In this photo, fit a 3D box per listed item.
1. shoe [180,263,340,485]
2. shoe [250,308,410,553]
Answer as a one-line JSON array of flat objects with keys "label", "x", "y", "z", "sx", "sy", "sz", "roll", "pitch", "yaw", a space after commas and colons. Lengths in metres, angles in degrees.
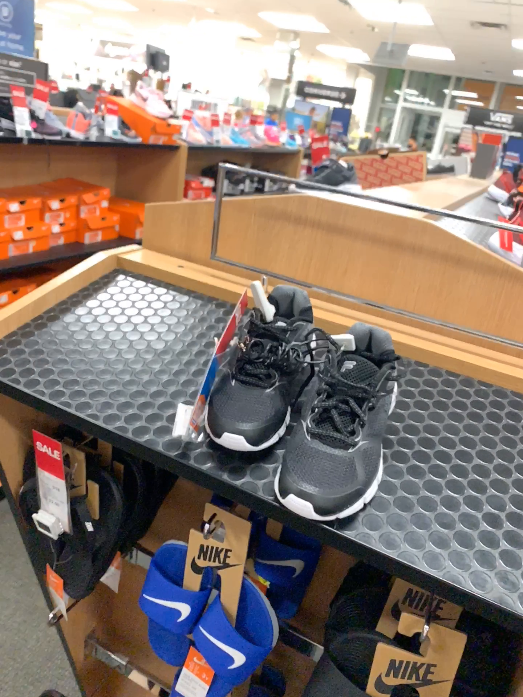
[{"label": "shoe", "x": 0.008, "y": 0.014, "z": 0.607, "sx": 0.100, "sy": 0.089, "sz": 0.246, "roll": 15, "pitch": 42, "yaw": 11}, {"label": "shoe", "x": 0.083, "y": 0.066, "z": 0.556, "sx": 0.100, "sy": 0.089, "sz": 0.246, "roll": 7, "pitch": 39, "yaw": 20}]
